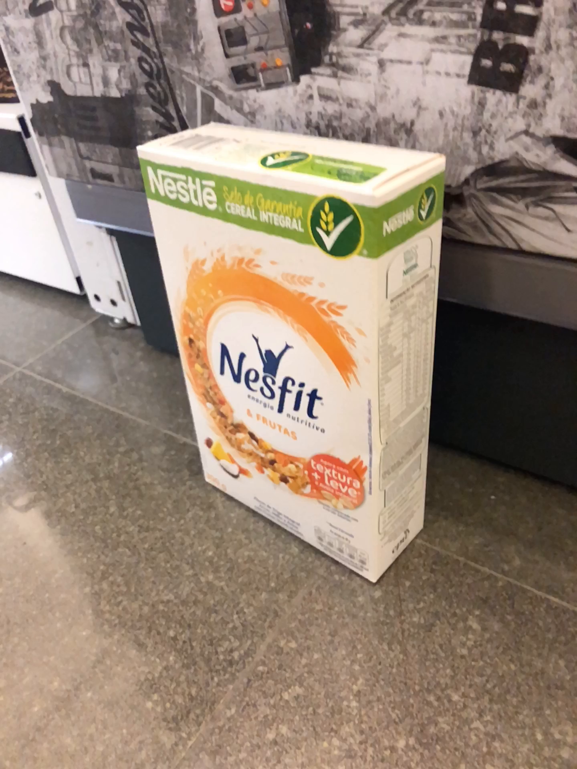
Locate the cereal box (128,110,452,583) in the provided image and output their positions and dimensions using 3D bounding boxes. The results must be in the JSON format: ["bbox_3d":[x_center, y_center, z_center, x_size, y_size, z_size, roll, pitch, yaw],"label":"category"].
[{"bbox_3d":[0.007,-0.020,0.386,0.151,0.248,0.070,23,45,35],"label":"cereal box"}]
